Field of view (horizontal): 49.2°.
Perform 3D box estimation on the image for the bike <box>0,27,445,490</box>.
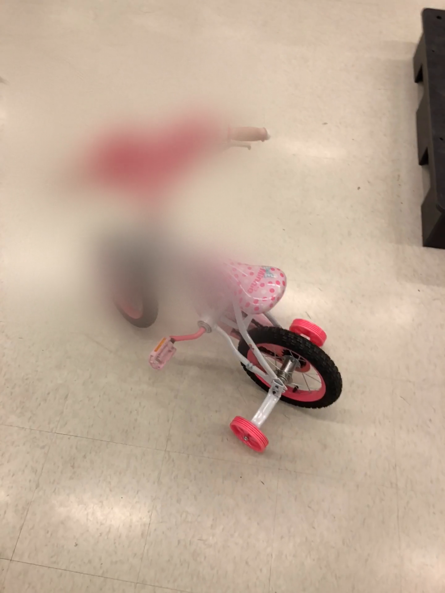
[{"bbox_3d":[-0.020,-0.064,1.155,0.774,0.681,0.511,30,62,17],"label":"bike"}]
